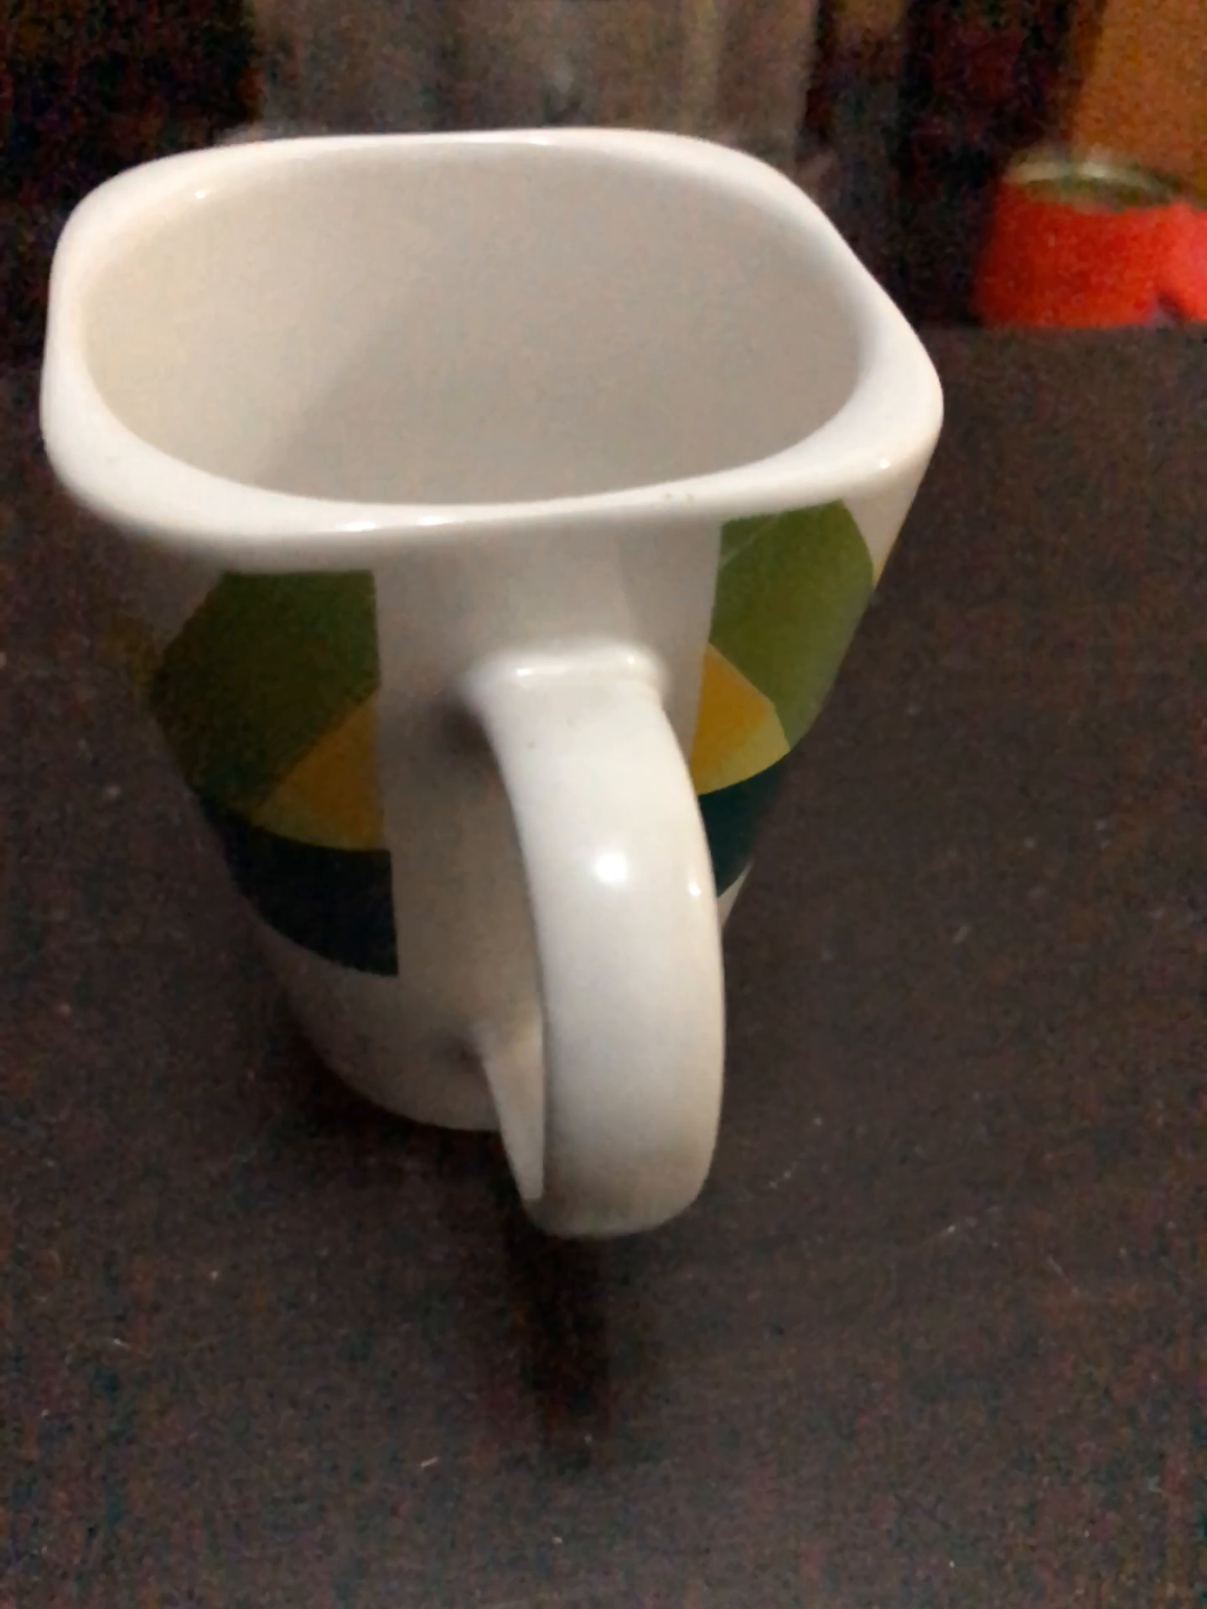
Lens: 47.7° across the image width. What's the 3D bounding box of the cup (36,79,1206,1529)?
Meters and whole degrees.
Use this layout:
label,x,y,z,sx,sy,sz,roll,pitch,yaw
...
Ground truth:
label,x,y,z,sx,sy,sz,roll,pitch,yaw
cup,-0.005,-0.008,0.143,0.080,0.089,0.111,-9,46,-12
